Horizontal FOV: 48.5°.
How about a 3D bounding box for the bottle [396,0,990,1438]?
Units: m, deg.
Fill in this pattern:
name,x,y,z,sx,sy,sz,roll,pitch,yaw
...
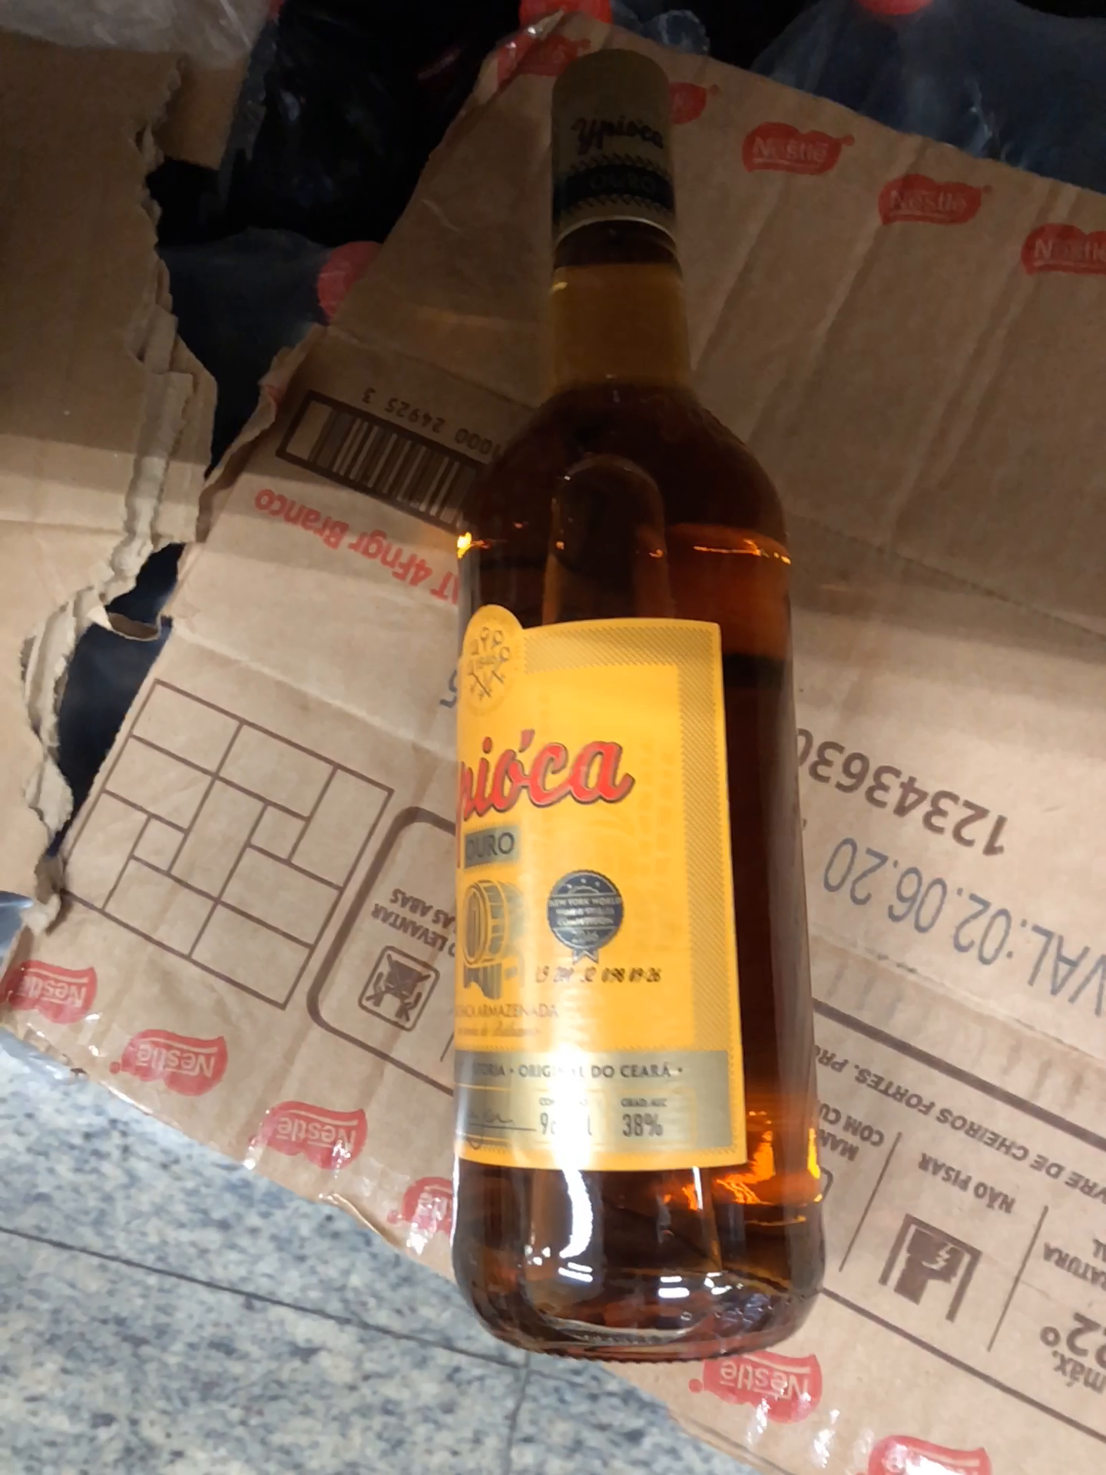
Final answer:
name,x,y,z,sx,sy,sz,roll,pitch,yaw
bottle,0.022,-0.032,0.279,0.090,0.080,0.310,5,77,-30
